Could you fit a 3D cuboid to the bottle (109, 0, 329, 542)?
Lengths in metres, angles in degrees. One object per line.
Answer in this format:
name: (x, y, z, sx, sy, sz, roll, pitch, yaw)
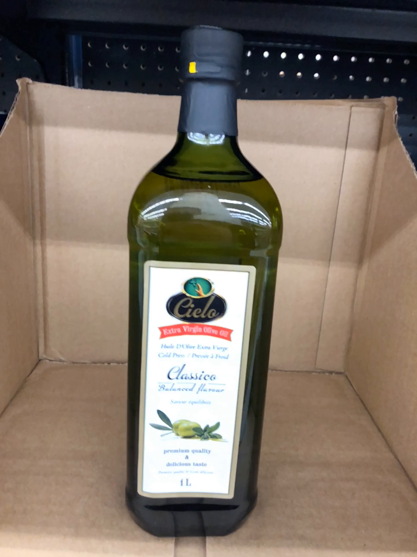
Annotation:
bottle: (-0.004, 0.009, 0.272, 0.090, 0.288, 0.080, 2, 19, -3)
